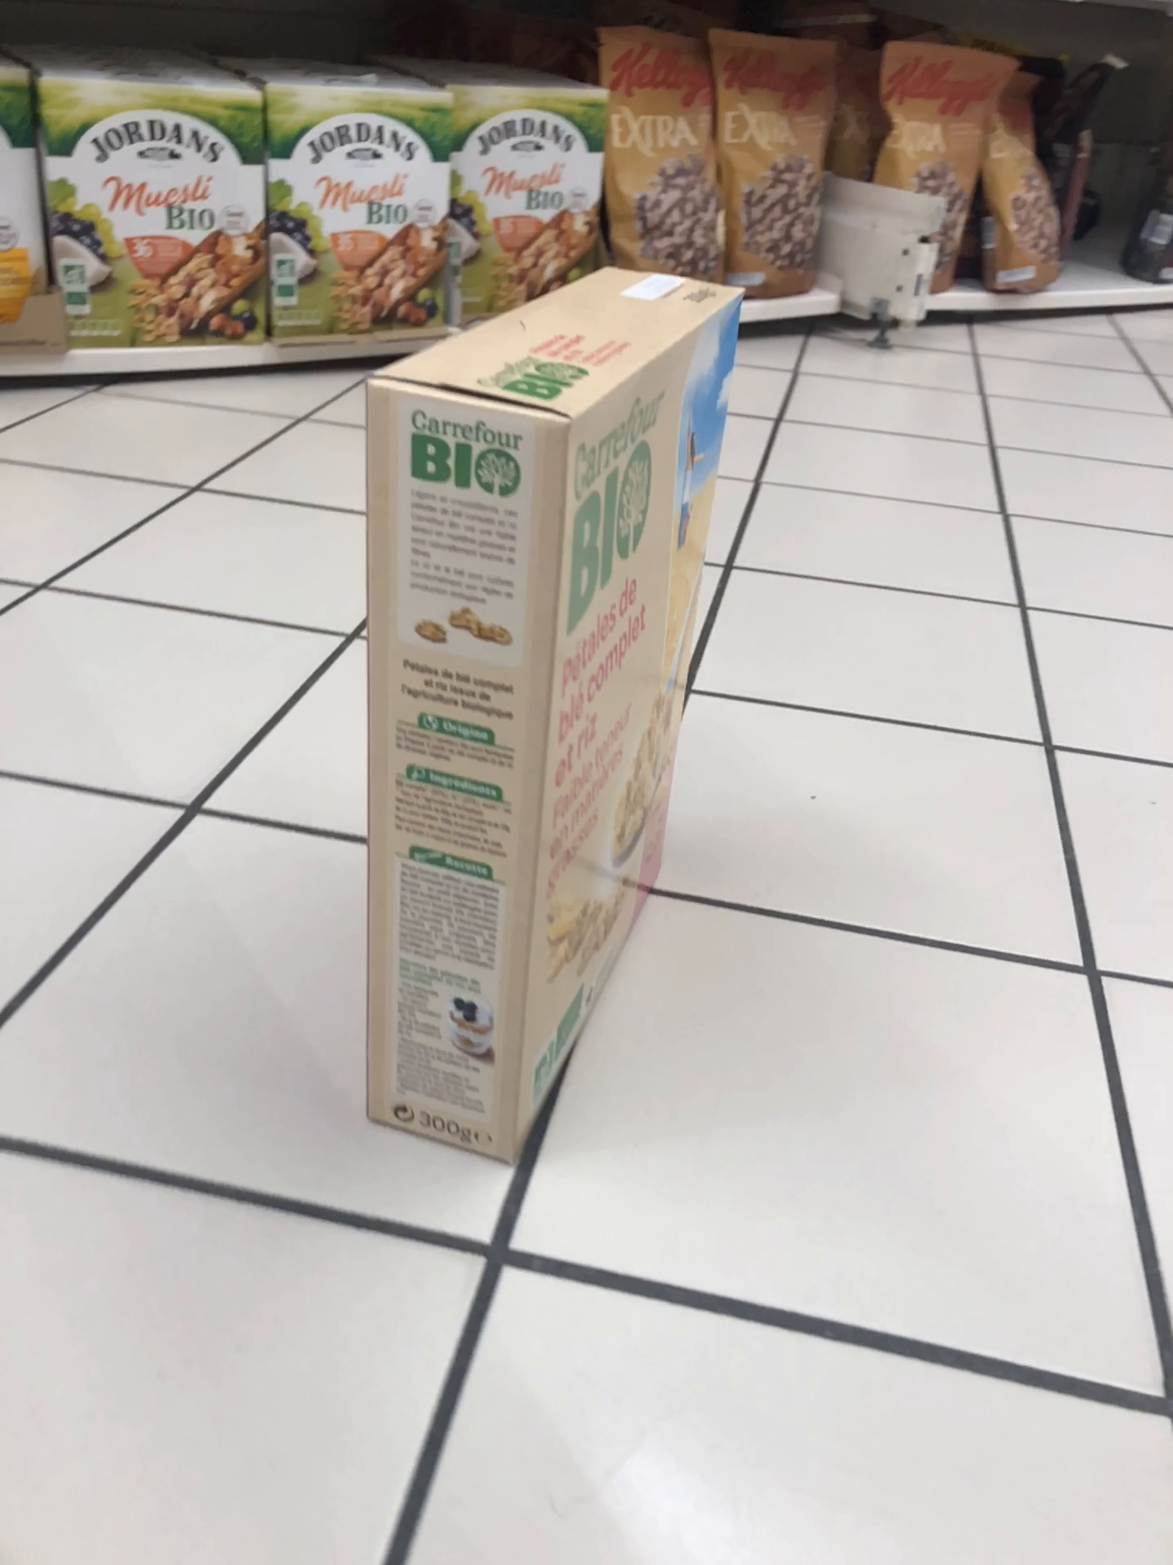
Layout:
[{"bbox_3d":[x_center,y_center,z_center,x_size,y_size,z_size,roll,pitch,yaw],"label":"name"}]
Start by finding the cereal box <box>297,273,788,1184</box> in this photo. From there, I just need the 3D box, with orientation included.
[{"bbox_3d":[-0.006,-0.032,0.450,0.080,0.239,0.211,13,31,14],"label":"cereal box"}]
